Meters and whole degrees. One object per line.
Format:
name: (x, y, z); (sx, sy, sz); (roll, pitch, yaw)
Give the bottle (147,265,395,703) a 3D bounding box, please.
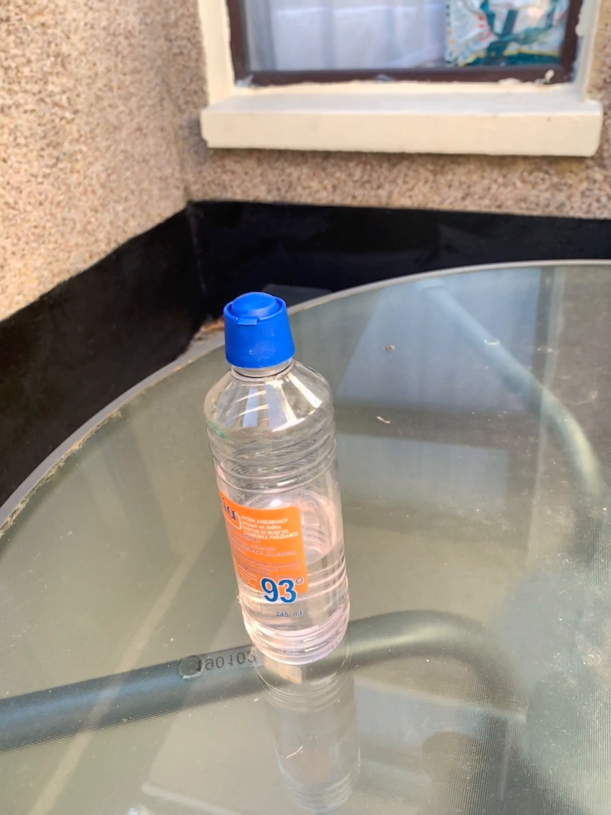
bottle: (-0.008, 0.034, 0.257); (0.060, 0.158, 0.060); (-3, 33, 2)
